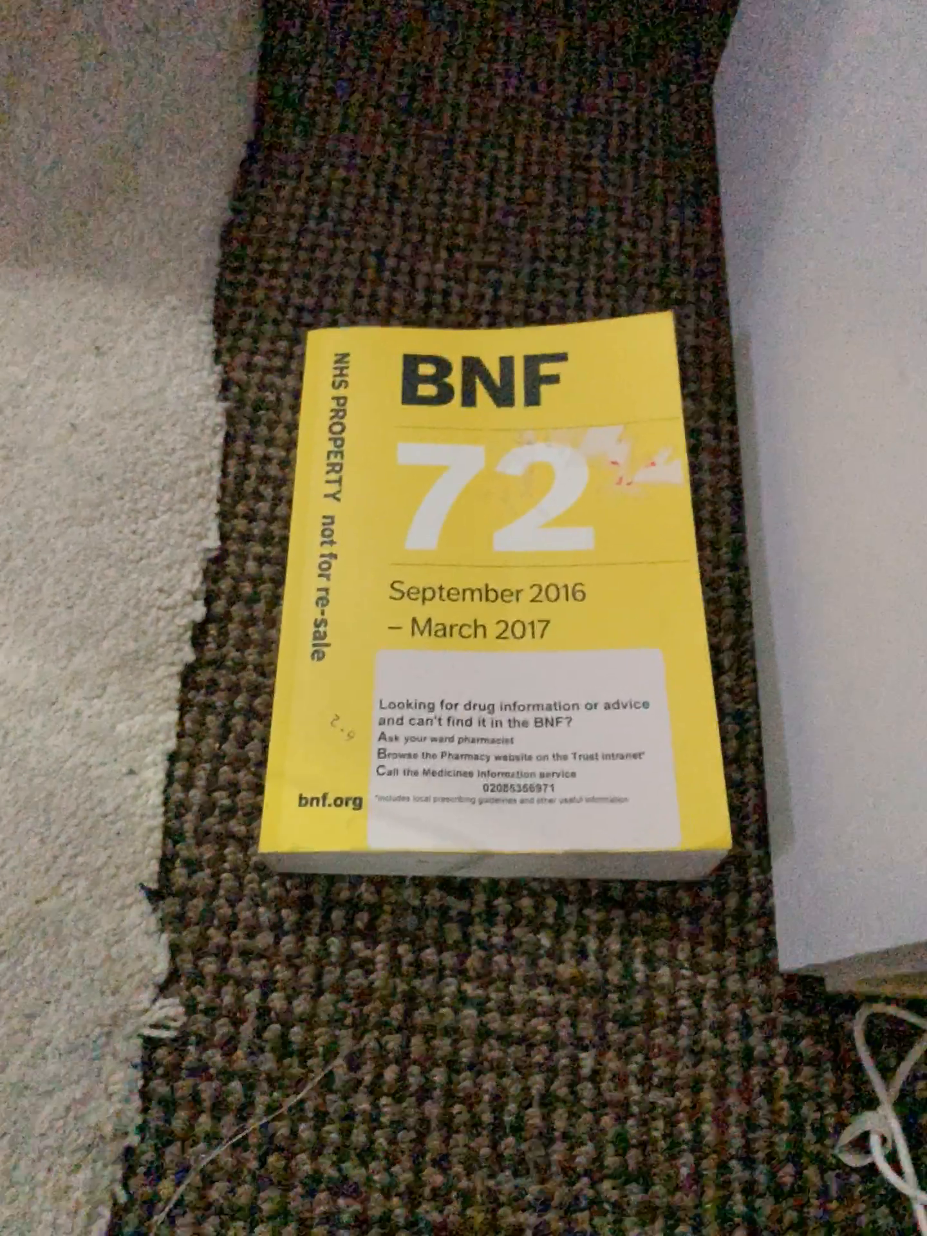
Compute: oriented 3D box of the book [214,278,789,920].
[{"bbox_3d":[0.009,-0.013,0.334,0.160,0.050,0.221,1,65,-4],"label":"book"}]
